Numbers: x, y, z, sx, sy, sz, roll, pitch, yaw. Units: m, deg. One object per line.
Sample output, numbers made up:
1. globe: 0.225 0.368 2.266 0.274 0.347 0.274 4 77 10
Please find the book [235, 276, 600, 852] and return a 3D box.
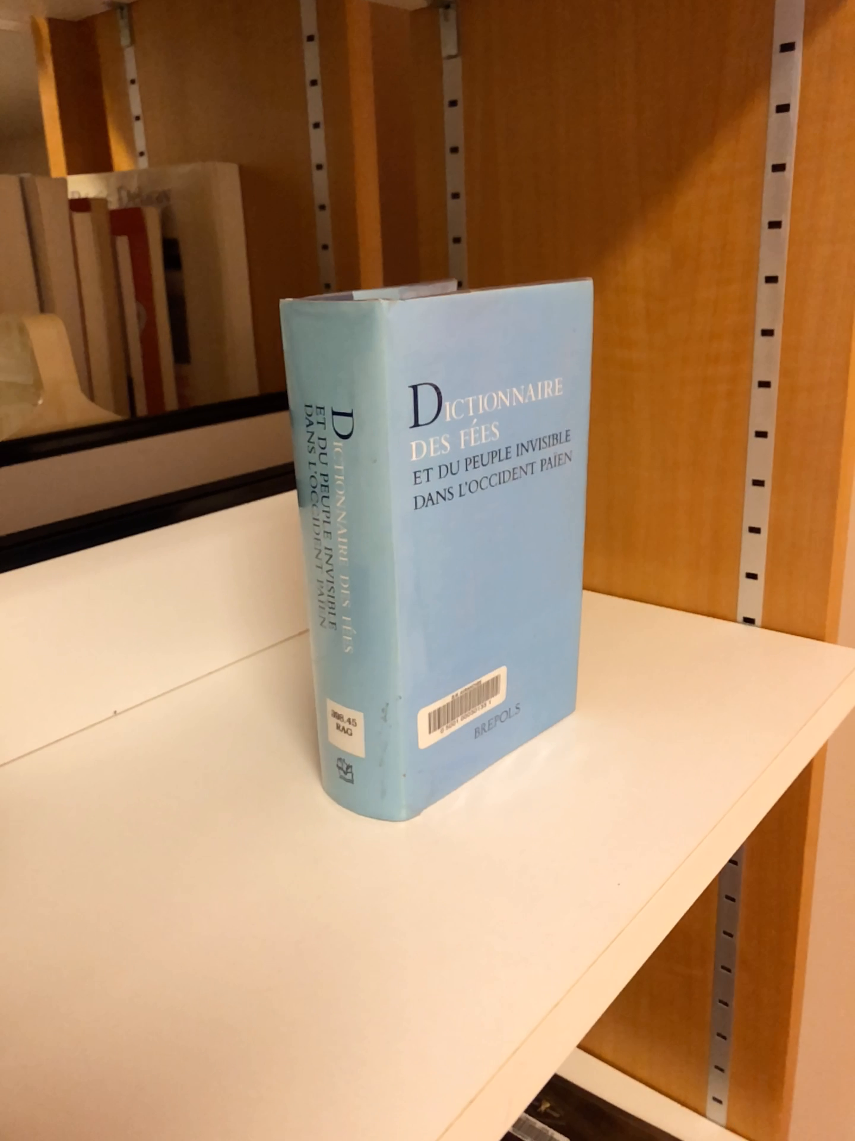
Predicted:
1. book: 0.003 -0.012 0.364 0.060 0.186 0.126 15 25 39
